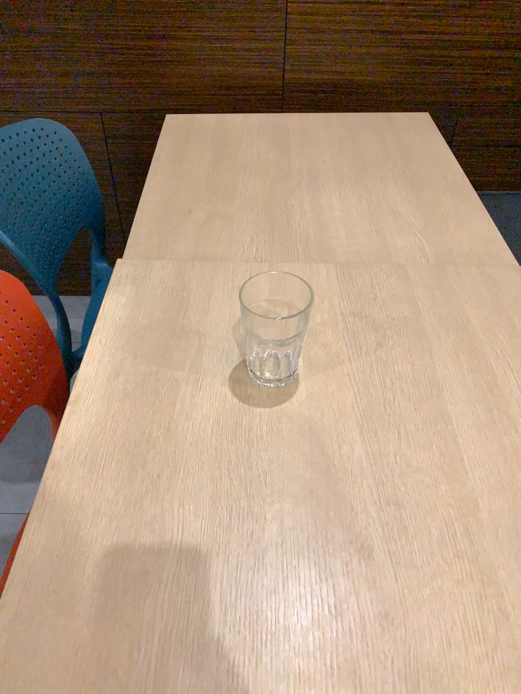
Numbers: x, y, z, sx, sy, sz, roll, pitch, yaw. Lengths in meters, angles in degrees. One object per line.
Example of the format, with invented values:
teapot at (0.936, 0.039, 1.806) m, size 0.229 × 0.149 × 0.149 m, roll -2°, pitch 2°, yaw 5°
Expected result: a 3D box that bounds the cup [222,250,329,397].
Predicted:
cup at (0.014, -0.026, 0.590) m, size 0.080 × 0.119 × 0.080 m, roll 1°, pitch 44°, yaw -1°
